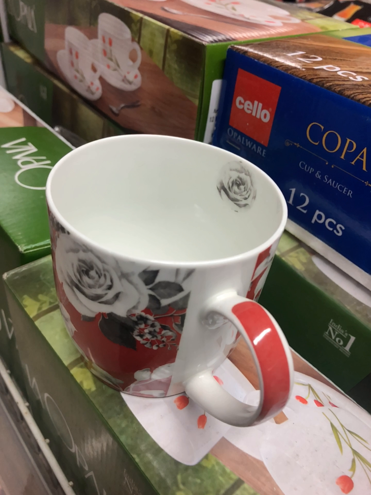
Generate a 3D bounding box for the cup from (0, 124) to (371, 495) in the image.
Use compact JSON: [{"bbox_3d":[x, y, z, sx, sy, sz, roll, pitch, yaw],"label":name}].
[{"bbox_3d":[-0.010,0.015,0.153,0.090,0.070,0.110,-19,46,-33],"label":"cup"}]
